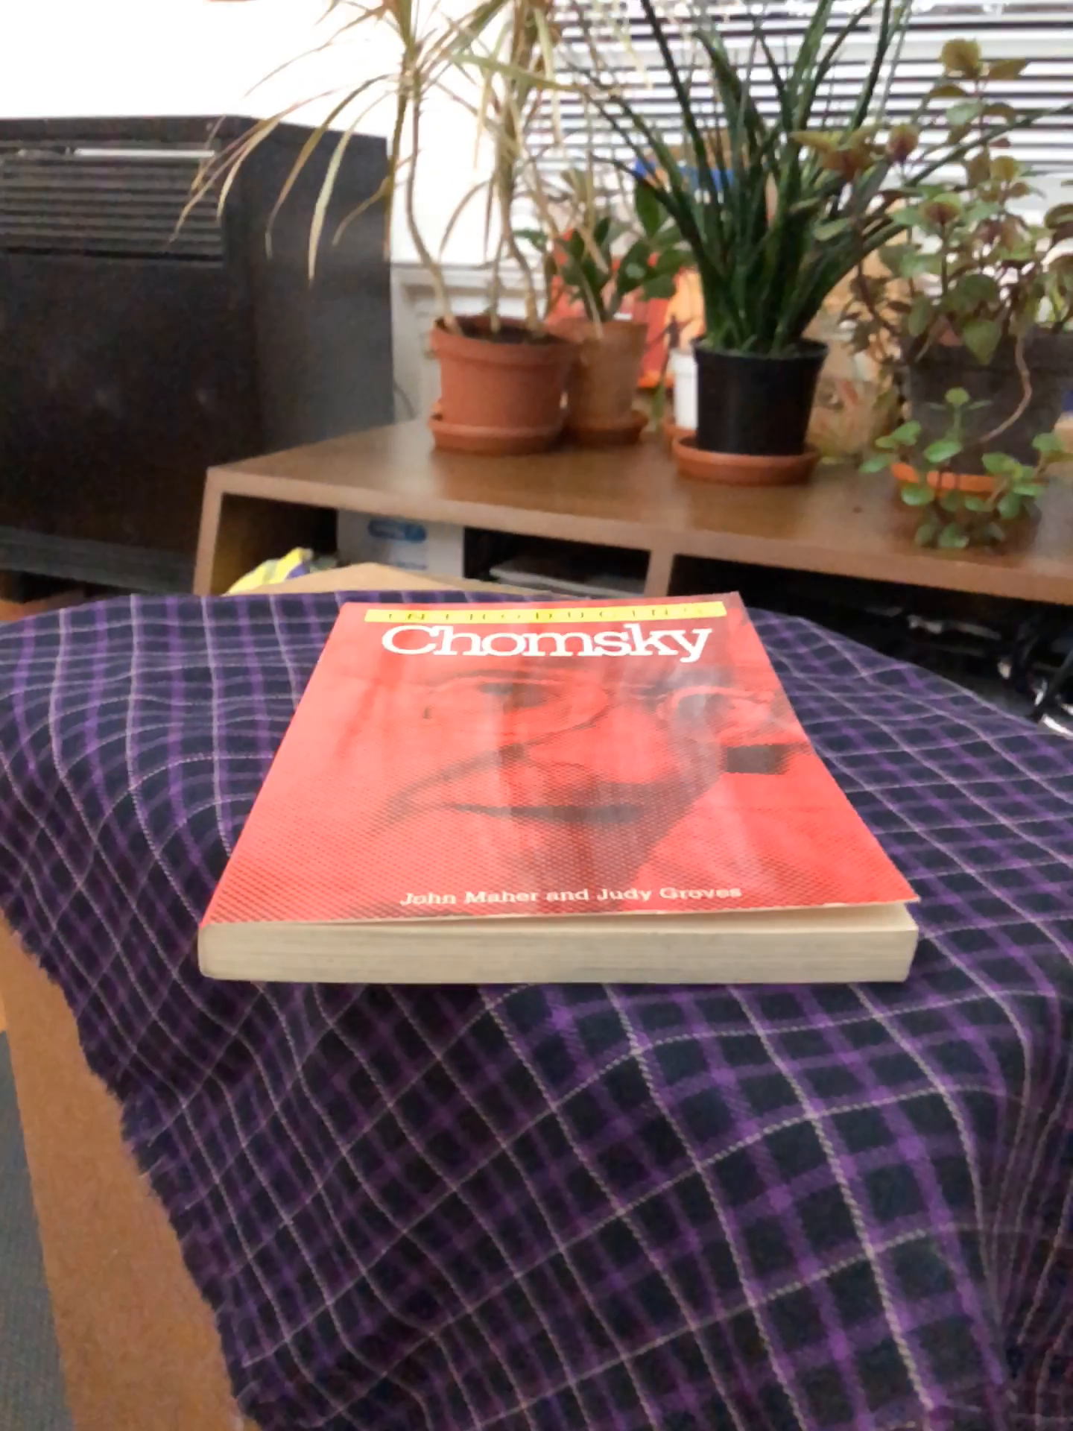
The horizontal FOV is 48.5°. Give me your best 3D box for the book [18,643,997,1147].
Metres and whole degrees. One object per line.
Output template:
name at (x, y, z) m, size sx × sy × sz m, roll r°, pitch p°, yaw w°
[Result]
book at (-0.008, 0.028, 0.334) m, size 0.180 × 0.020 × 0.241 m, roll 1°, pitch 22°, yaw -2°
